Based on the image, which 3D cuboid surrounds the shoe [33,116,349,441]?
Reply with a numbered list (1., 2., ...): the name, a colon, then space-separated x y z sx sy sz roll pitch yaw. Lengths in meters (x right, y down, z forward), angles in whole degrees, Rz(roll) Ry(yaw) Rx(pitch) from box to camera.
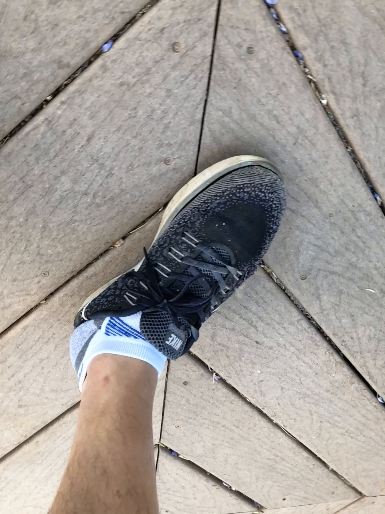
1. shoe: -0.014 0.029 0.431 0.130 0.100 0.300 35 104 -26
